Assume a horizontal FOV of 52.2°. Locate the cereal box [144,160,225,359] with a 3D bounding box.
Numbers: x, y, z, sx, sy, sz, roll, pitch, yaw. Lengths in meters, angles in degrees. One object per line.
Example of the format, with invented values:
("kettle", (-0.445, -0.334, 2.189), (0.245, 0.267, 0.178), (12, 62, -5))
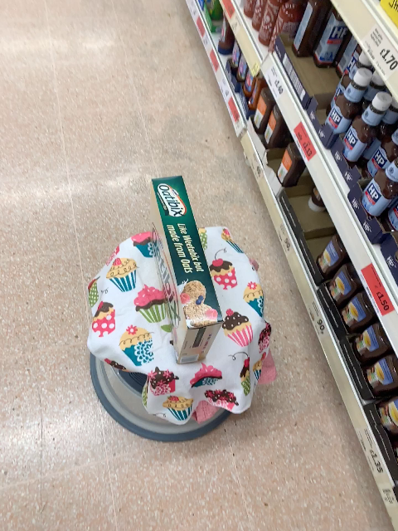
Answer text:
("cereal box", (-0.037, -0.009, 0.678), (0.060, 0.169, 0.282), (-9, 63, -12))
